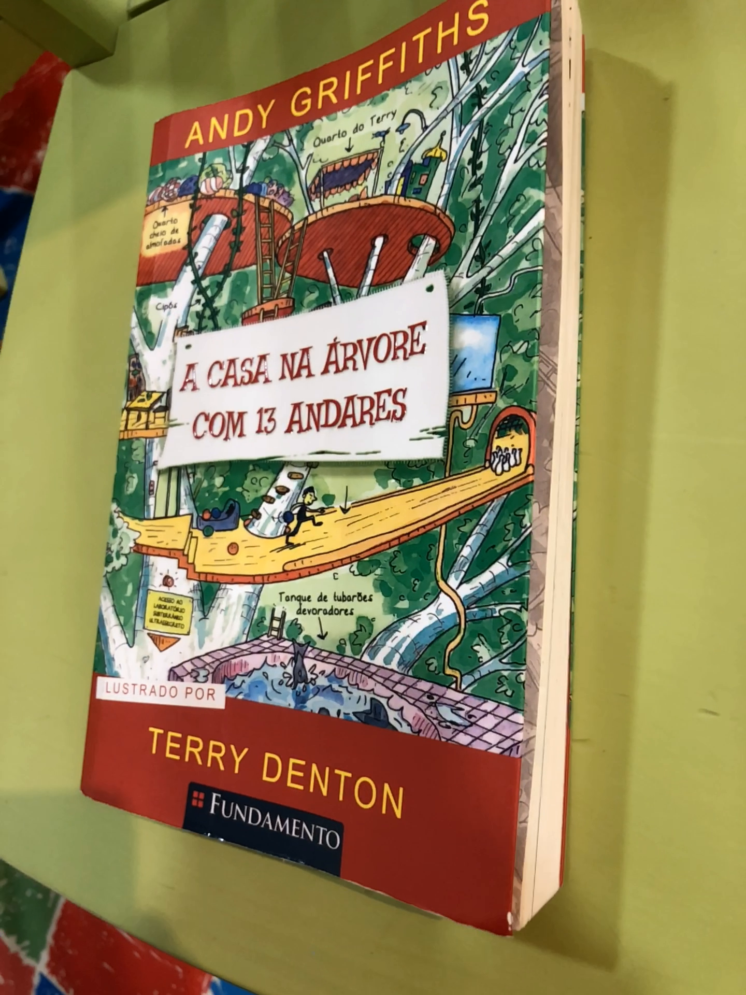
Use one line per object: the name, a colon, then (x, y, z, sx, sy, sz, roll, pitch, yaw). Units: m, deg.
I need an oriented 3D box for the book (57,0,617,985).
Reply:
book: (-0.014, -0.011, 0.223, 0.137, 0.040, 0.210, 0, 83, 36)
